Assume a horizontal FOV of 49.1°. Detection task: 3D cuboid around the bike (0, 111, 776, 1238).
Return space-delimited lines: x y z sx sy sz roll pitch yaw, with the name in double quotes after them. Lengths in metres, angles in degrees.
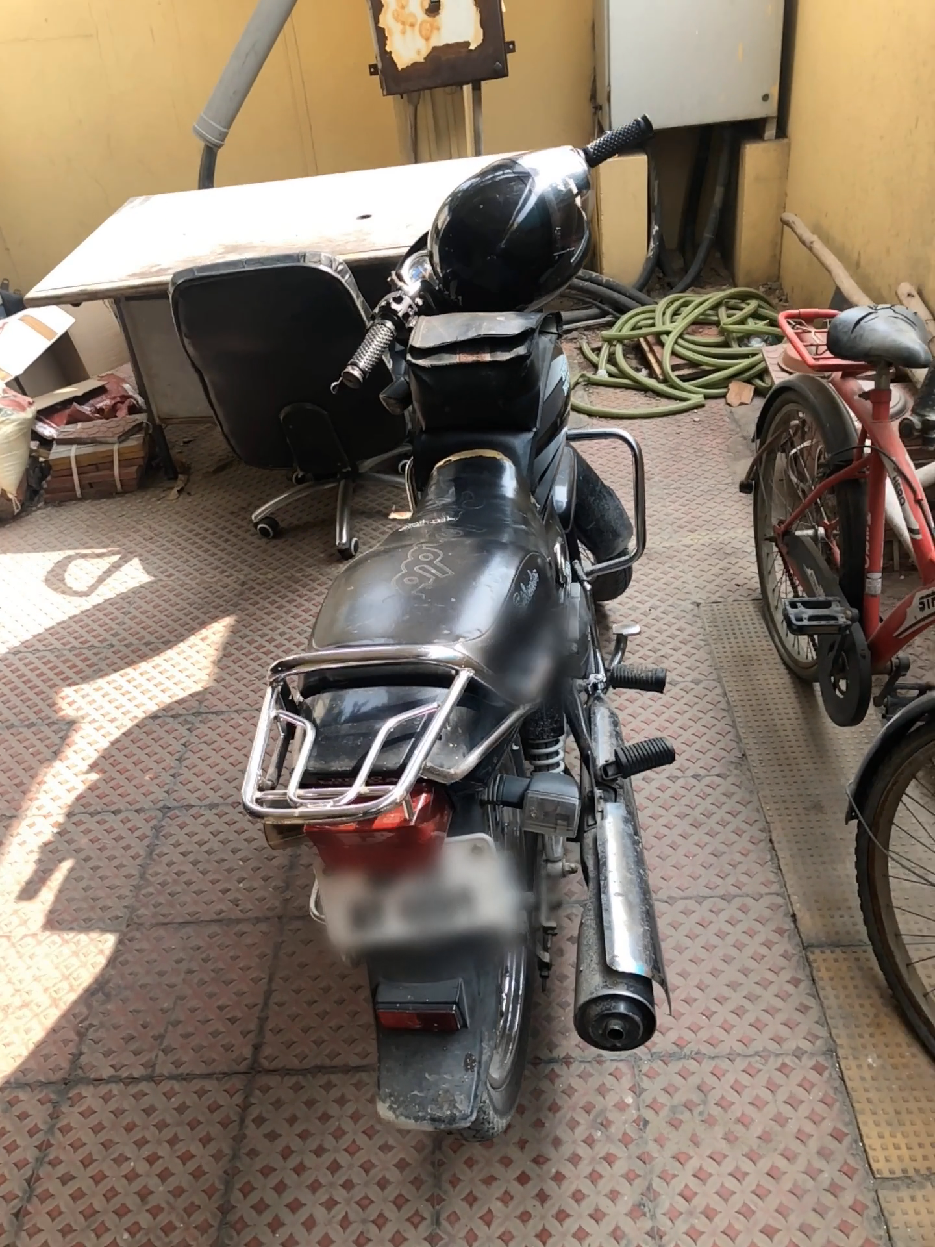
-0.128 -0.119 1.685 0.713 1.027 1.624 -5 35 3 "bike"
